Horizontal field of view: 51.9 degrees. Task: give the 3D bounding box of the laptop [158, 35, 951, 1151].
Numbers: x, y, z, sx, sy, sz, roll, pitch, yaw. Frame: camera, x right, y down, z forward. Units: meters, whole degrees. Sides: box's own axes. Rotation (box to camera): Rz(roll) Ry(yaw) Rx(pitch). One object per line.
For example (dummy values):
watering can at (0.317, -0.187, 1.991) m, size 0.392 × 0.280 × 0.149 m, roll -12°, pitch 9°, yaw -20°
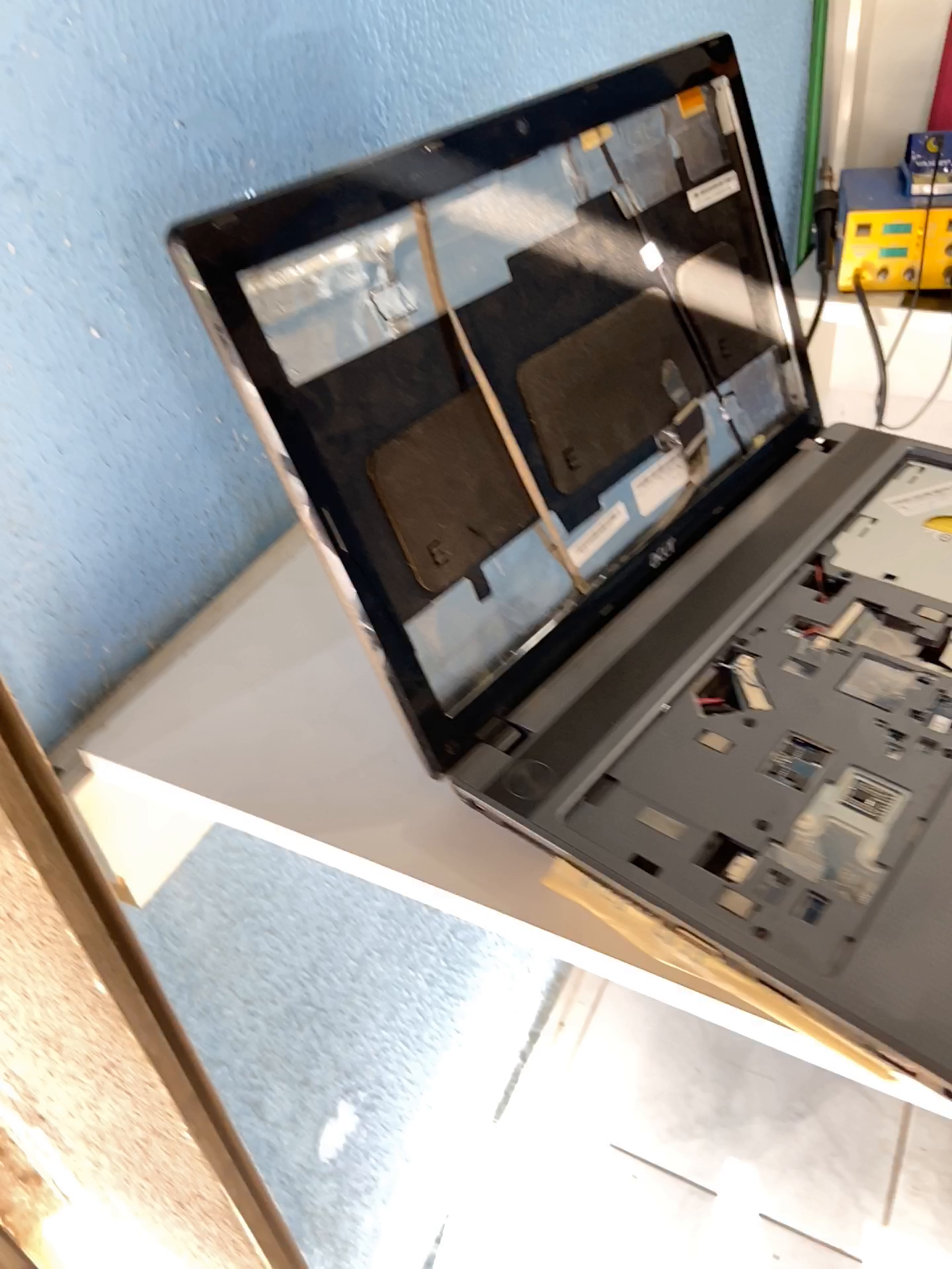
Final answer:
laptop at (0.155, -0.097, 0.417) m, size 0.350 × 0.210 × 0.379 m, roll 25°, pitch 48°, yaw 34°
